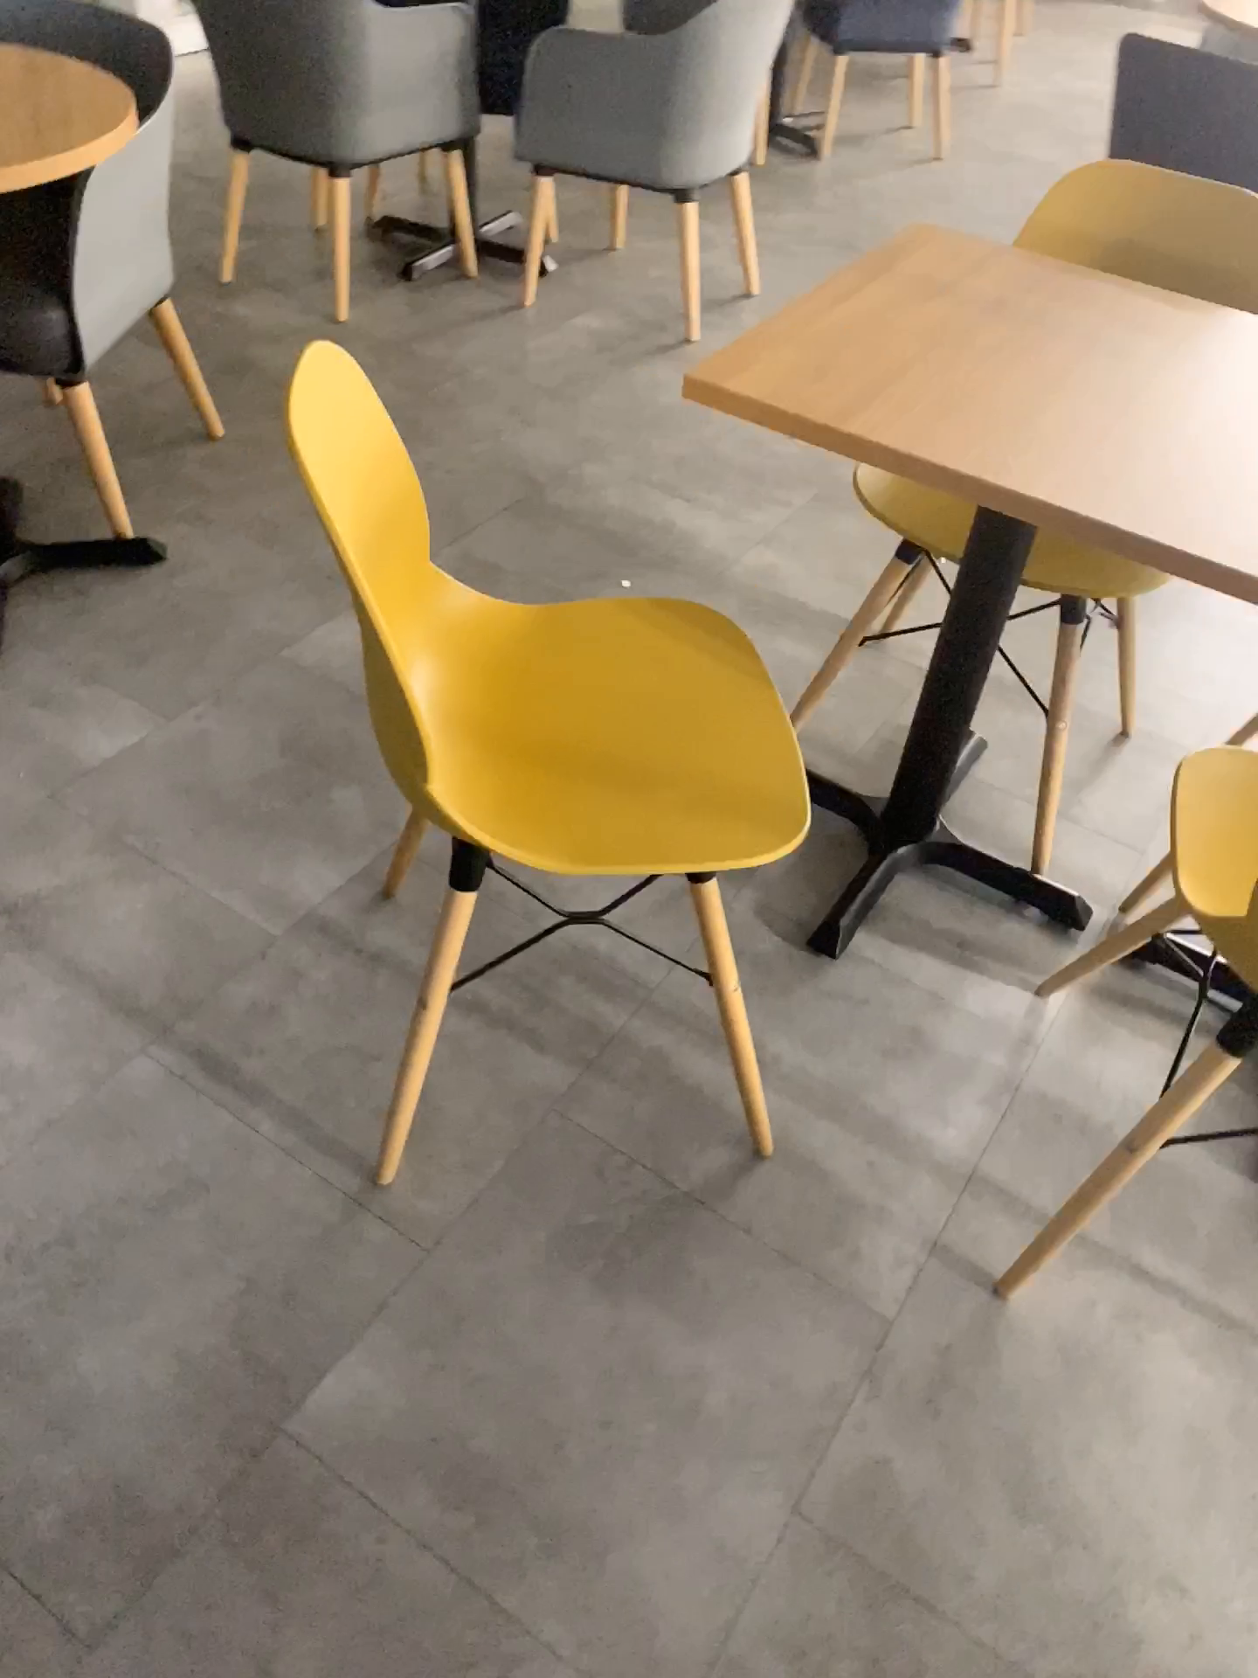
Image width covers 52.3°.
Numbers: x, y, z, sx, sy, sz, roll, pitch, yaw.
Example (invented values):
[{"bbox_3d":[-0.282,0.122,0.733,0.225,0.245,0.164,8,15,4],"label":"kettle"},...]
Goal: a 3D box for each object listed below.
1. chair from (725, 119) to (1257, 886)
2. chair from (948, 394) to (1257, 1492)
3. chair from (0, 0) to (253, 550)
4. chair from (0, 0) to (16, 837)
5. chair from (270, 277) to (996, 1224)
[{"bbox_3d":[0.514,-0.457,1.760,0.498,0.776,0.495,25,46,20],"label":"chair"},{"bbox_3d":[0.678,0.112,1.183,0.497,0.776,0.496,17,44,12],"label":"chair"},{"bbox_3d":[-1.061,-1.007,2.219,0.547,0.756,0.526,9,43,4],"label":"chair"},{"bbox_3d":[-1.245,-0.514,1.604,0.497,0.776,0.526,14,43,8],"label":"chair"},{"bbox_3d":[-0.052,-0.068,1.311,0.492,0.786,0.521,-2,44,-9],"label":"chair"}]
